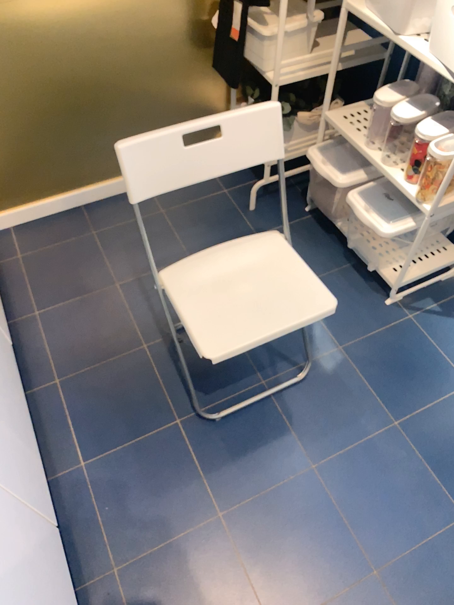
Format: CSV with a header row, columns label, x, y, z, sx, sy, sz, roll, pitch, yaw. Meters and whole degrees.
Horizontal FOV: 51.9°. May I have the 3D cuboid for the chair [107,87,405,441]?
label,x,y,z,sx,sy,sz,roll,pitch,yaw
chair,0.038,-0.051,1.220,0.440,0.748,0.421,-21,56,-16
